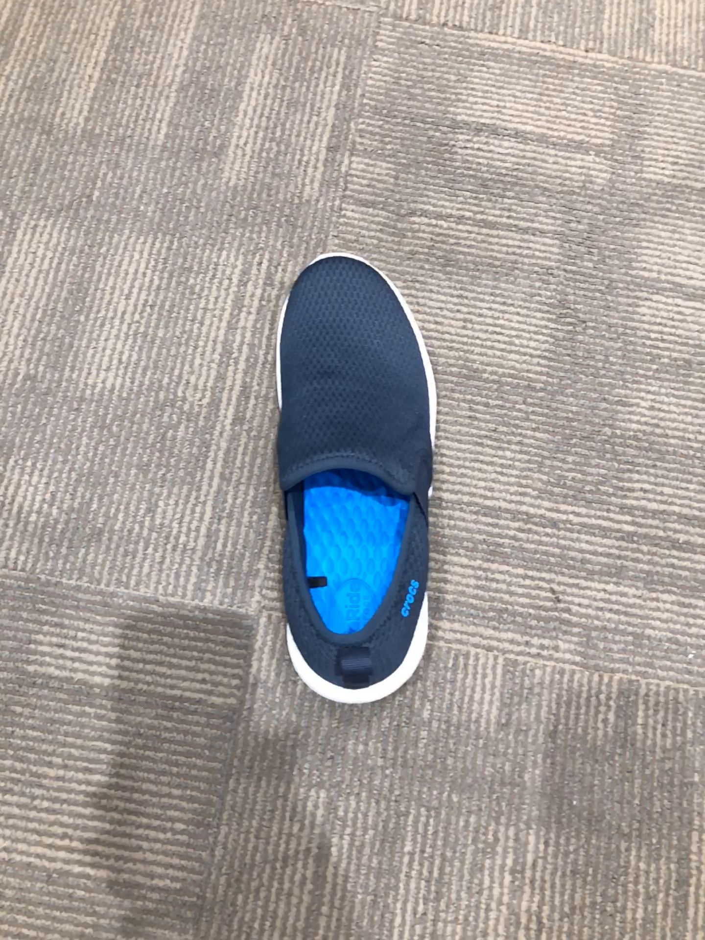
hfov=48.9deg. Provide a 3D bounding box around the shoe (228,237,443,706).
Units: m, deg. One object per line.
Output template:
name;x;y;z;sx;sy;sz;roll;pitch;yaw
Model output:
shoe;-0.006;0.006;0.494;0.110;0.120;0.271;3;74;-2
